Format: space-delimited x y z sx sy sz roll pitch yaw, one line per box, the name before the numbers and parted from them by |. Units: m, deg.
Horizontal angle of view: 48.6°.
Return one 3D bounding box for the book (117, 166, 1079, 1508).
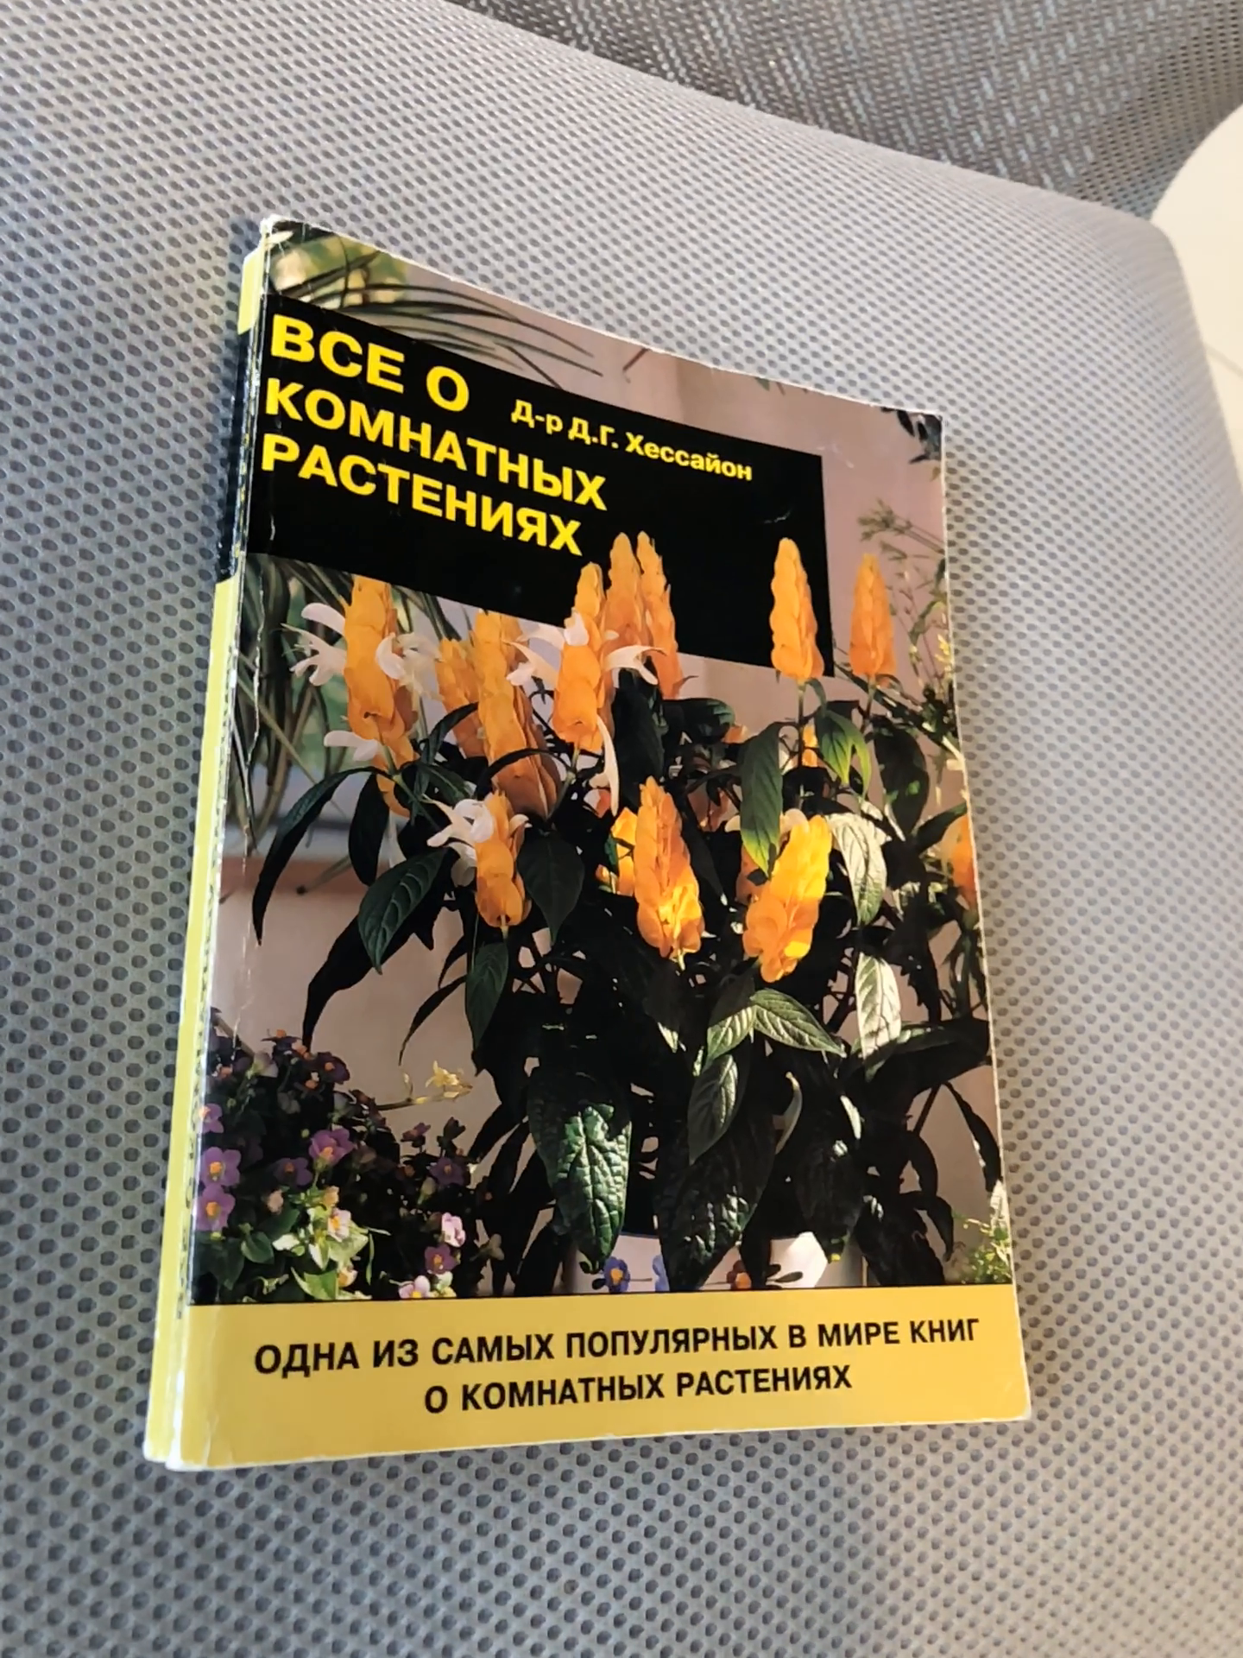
book | 0.002 -0.002 0.274 0.171 0.030 0.230 8 70 -25
